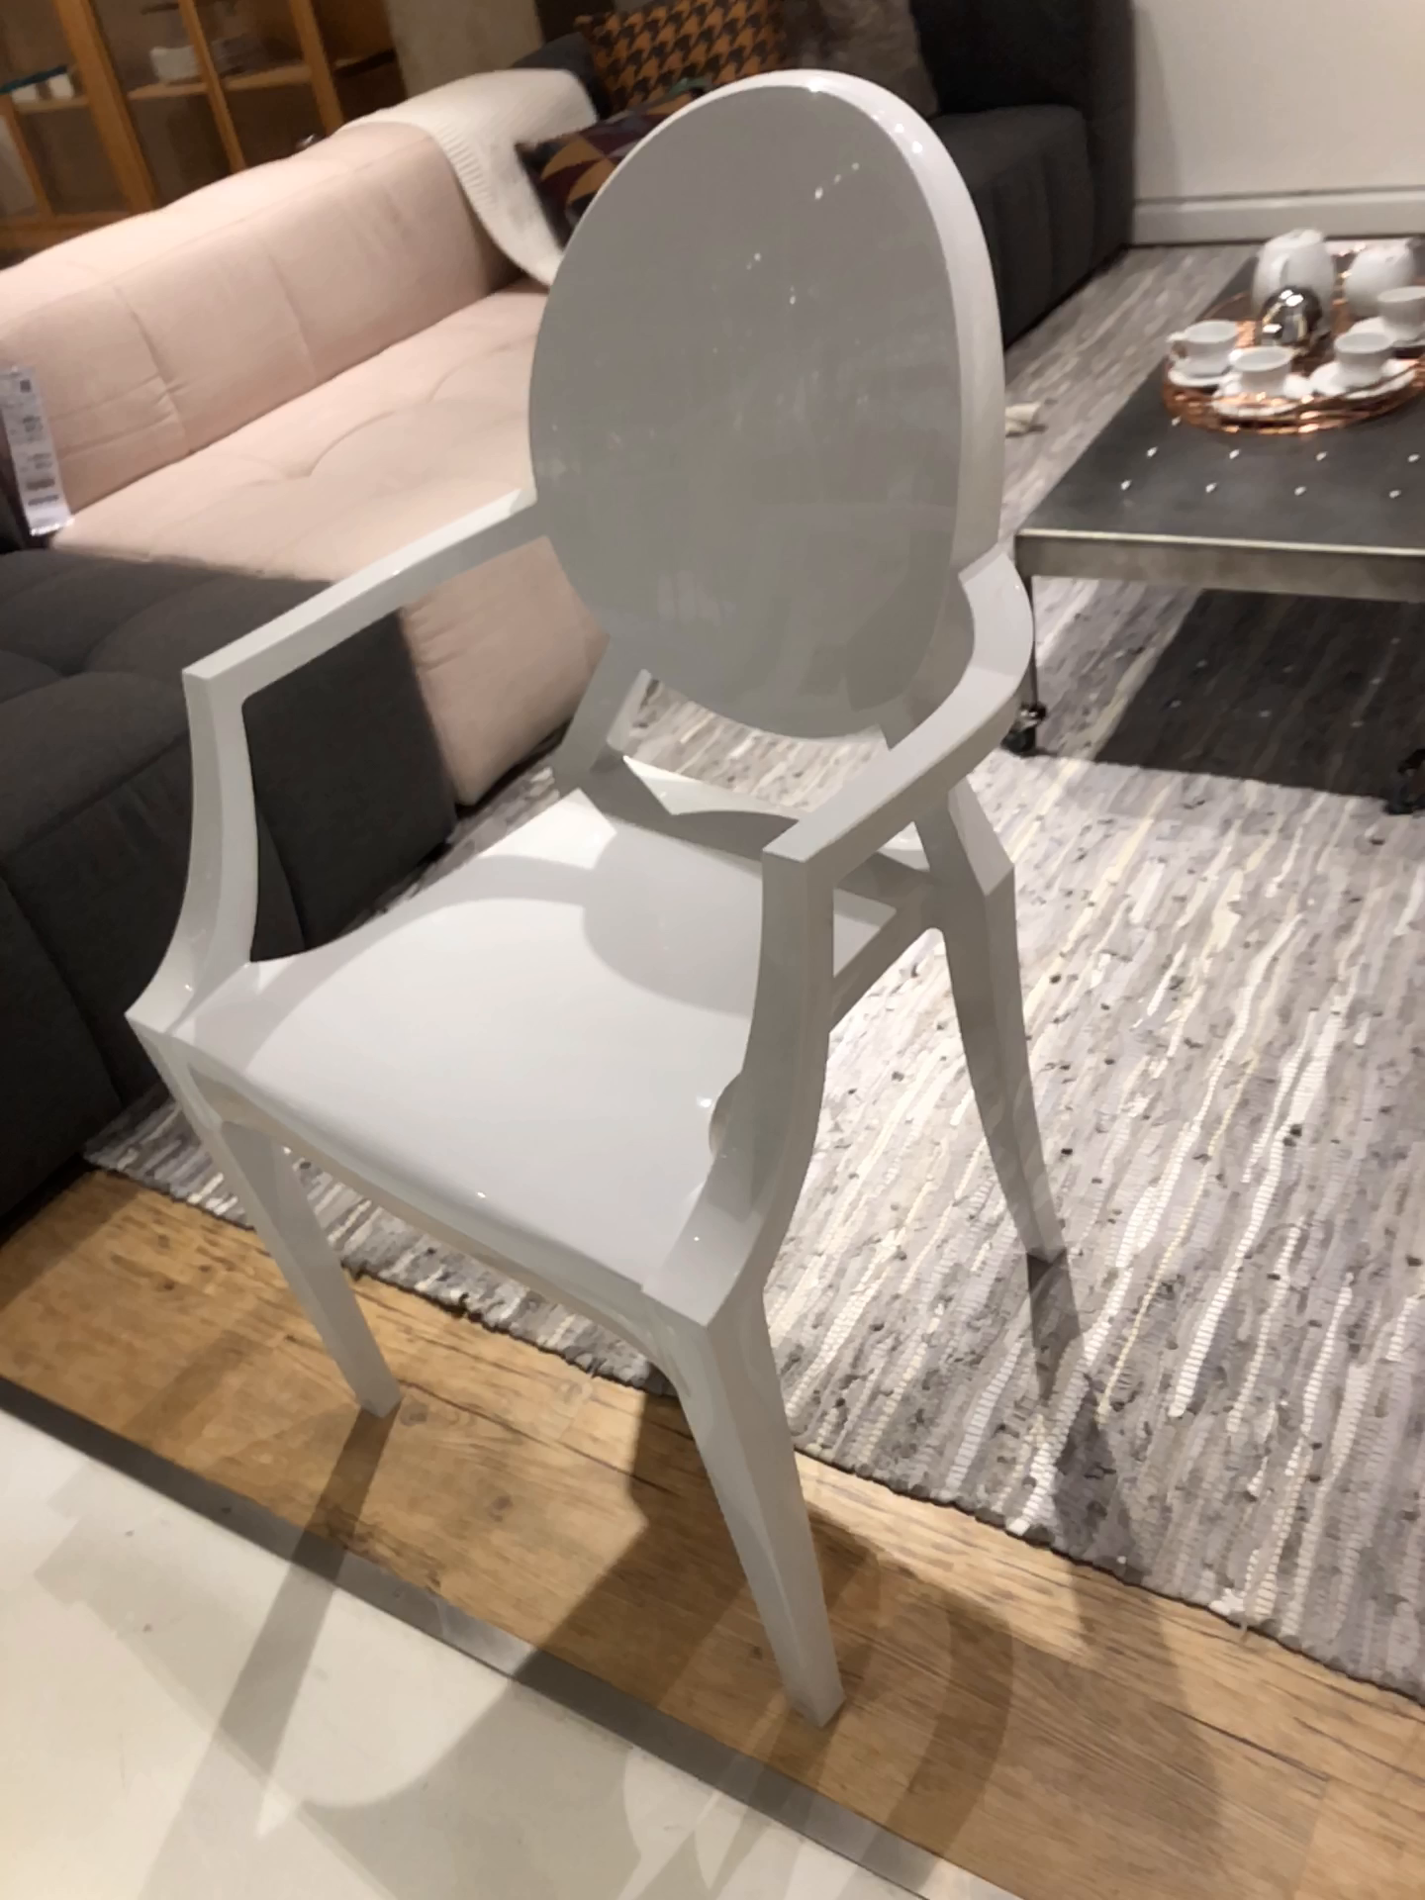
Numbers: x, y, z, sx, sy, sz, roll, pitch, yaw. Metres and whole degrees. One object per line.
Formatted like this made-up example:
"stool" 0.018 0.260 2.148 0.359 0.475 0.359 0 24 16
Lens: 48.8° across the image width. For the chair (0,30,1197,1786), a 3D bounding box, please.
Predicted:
"chair" -0.049 -0.040 1.025 0.512 0.844 0.552 19 46 35
